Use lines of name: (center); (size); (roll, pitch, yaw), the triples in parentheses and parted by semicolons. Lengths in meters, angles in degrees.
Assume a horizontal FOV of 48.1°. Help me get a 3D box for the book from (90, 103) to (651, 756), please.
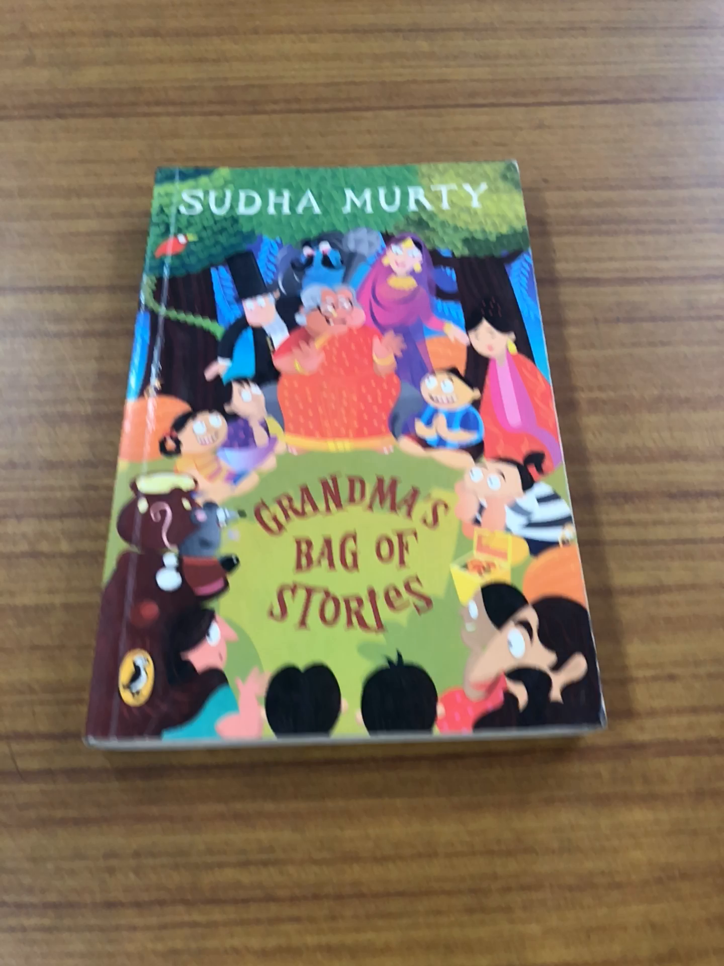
book: (-0.001, -0.030, 0.249); (0.130, 0.030, 0.210); (-2, 63, 0)
